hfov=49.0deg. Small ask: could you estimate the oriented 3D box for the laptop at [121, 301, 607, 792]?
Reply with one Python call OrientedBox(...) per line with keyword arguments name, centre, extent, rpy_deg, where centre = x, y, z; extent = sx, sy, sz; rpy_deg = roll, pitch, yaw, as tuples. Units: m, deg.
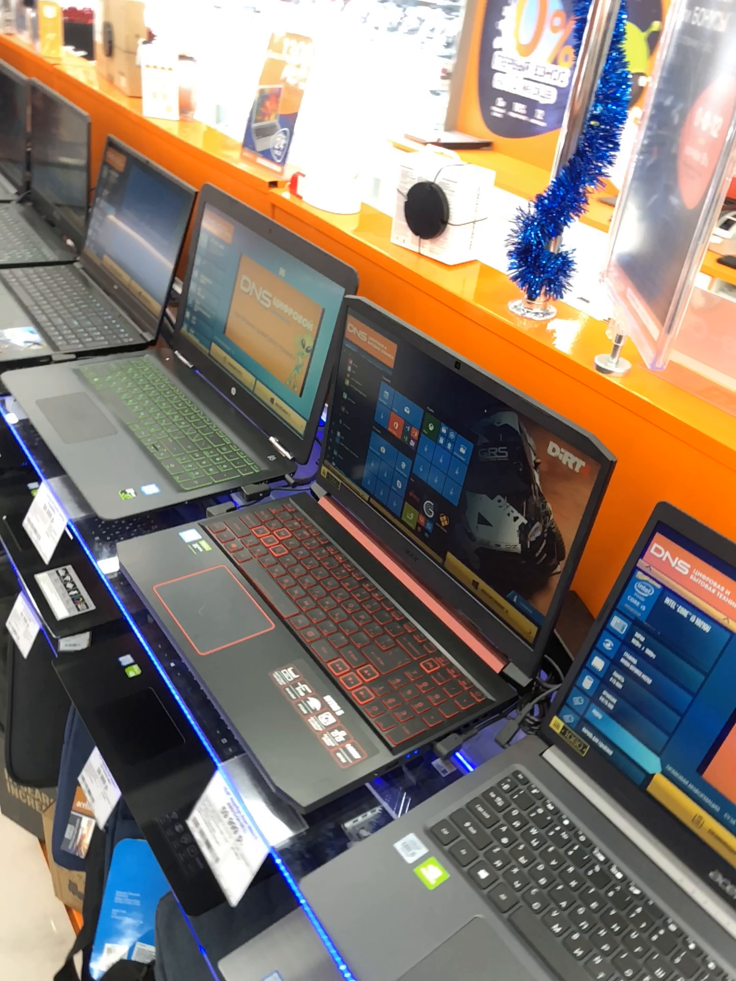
OrientedBox(name="laptop", centre=(-0.030, 0.014, 0.714), extent=(0.251, 0.231, 0.330), rpy_deg=(-16, 40, -34))
